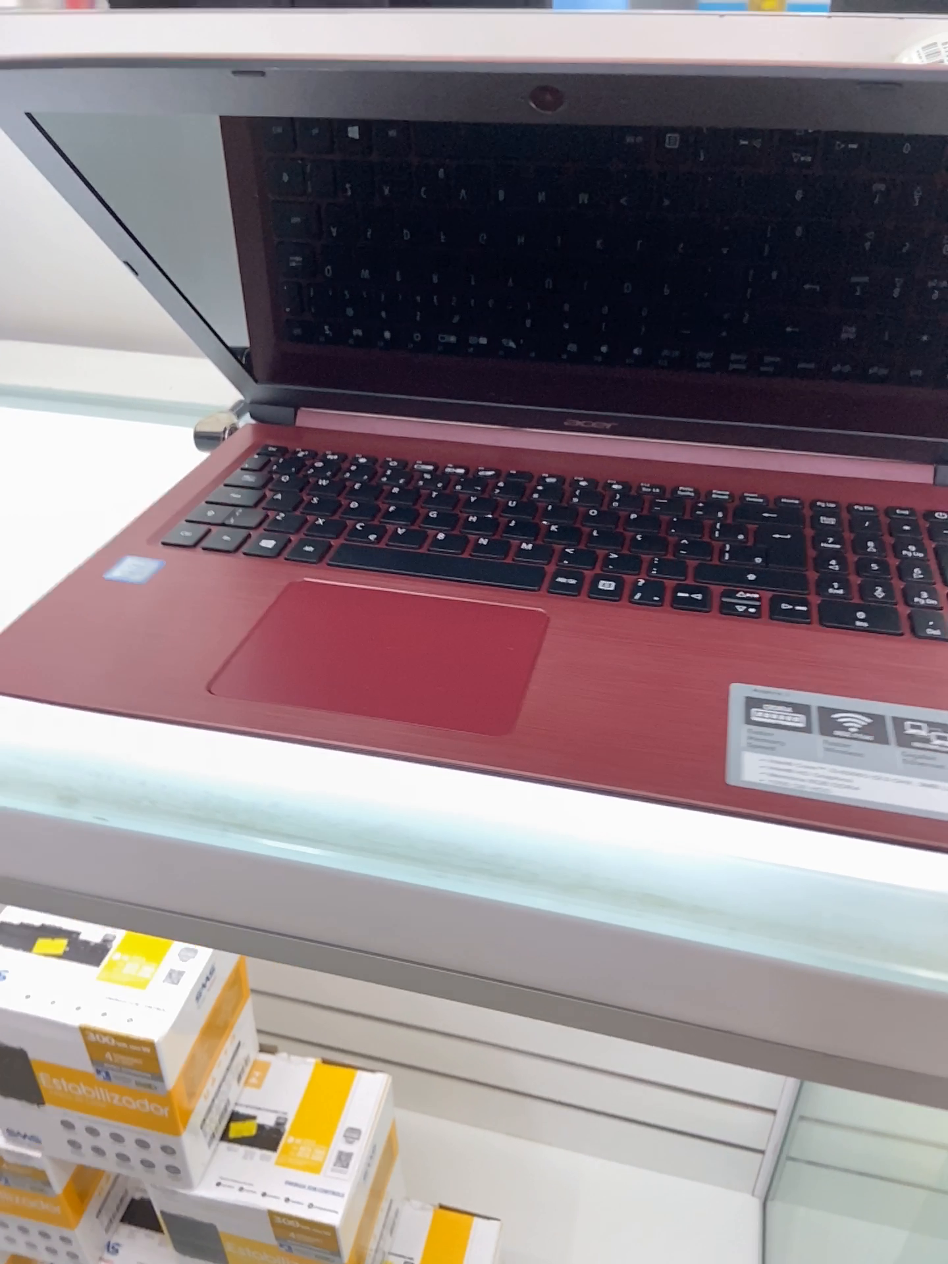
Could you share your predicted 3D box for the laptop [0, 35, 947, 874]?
[{"bbox_3d":[0.029,-0.098,0.345,0.367,0.179,0.239,8,35,12],"label":"laptop"}]
